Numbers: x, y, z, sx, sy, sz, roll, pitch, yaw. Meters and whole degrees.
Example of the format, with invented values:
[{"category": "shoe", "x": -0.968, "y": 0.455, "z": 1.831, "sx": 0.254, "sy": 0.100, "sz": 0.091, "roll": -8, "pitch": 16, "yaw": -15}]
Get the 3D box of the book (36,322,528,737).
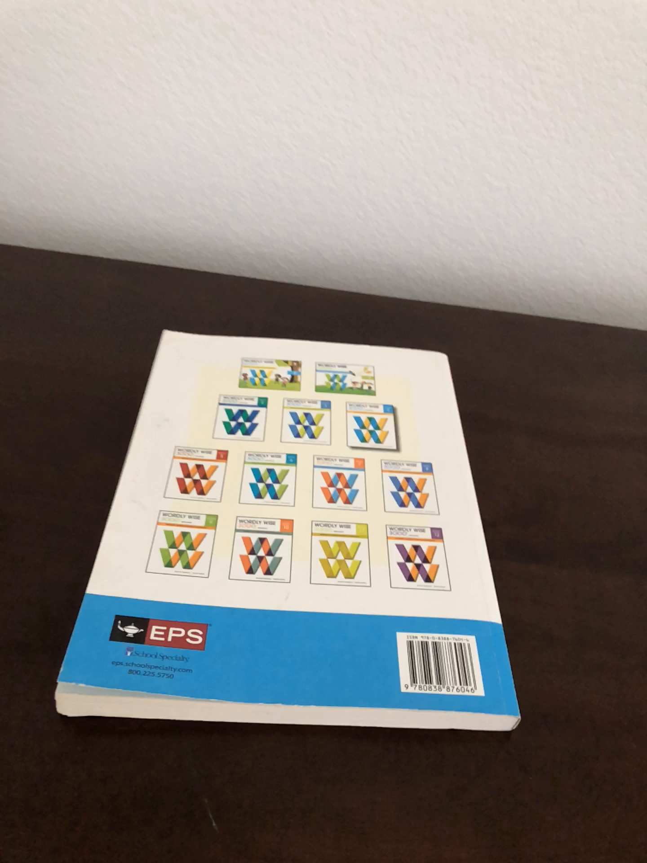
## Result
[{"category": "book", "x": -0.017, "y": 0.035, "z": 0.429, "sx": 0.220, "sy": 0.031, "sz": 0.272, "roll": 4, "pitch": 44, "yaw": -3}]
